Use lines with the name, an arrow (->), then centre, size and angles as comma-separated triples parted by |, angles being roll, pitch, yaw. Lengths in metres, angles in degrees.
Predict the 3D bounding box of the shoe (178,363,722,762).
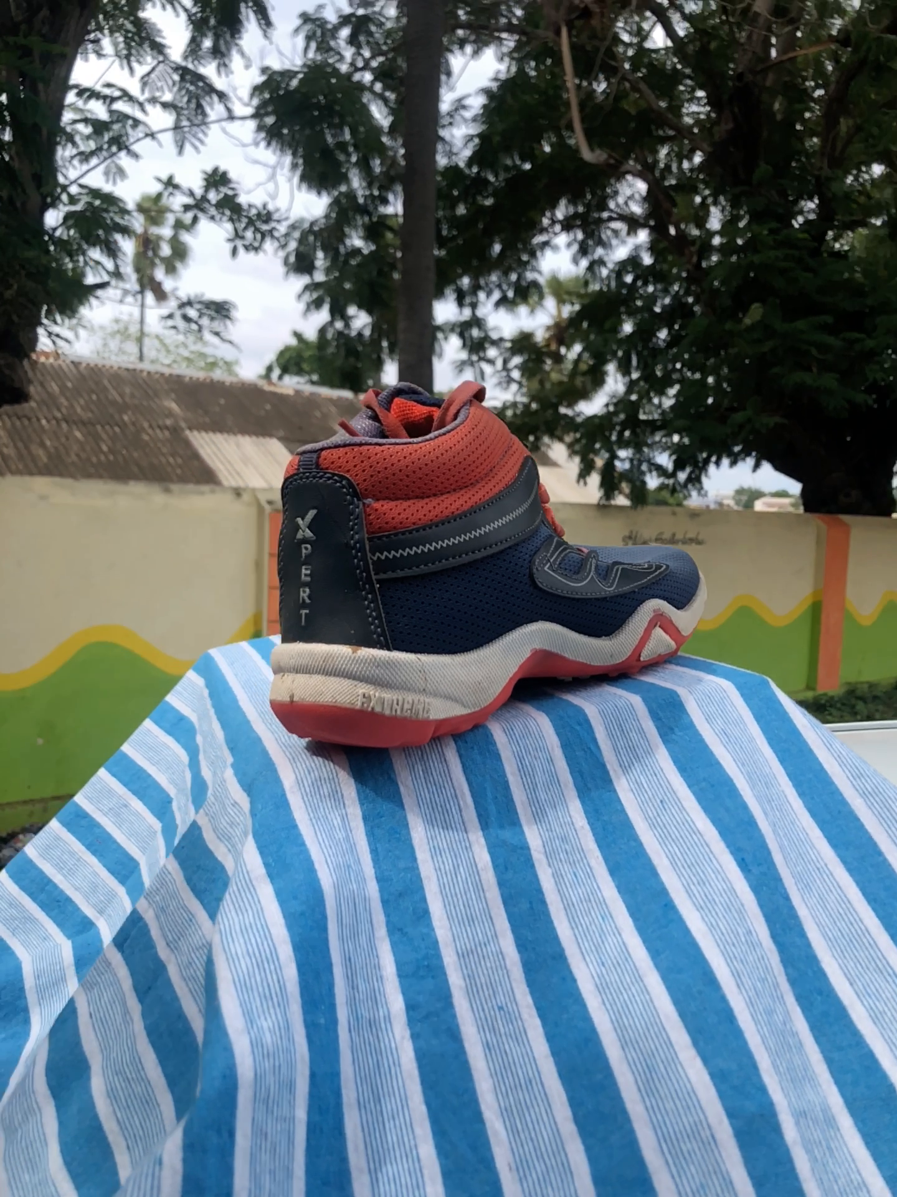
shoe -> 0.022, -0.021, 0.438 | 0.100, 0.120, 0.271 | 5, 6, 34
